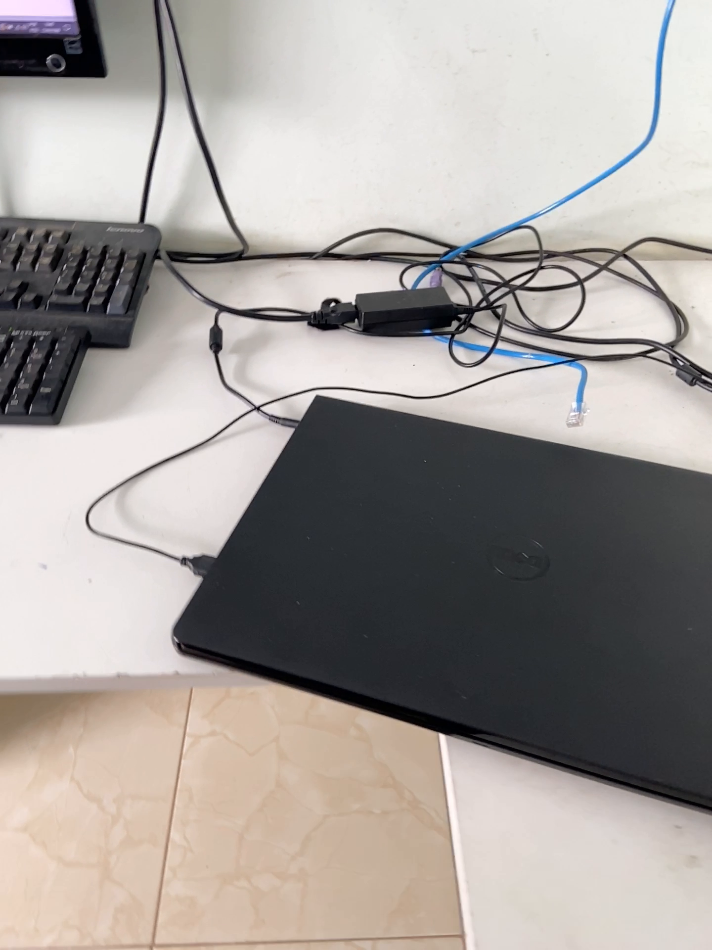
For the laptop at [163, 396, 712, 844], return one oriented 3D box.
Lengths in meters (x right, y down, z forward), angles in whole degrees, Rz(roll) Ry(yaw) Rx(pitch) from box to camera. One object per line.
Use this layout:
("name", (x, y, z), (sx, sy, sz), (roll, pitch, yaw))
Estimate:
("laptop", (0.108, 0.056, 0.481), (0.375, 0.003, 0.261), (13, 42, 12))
